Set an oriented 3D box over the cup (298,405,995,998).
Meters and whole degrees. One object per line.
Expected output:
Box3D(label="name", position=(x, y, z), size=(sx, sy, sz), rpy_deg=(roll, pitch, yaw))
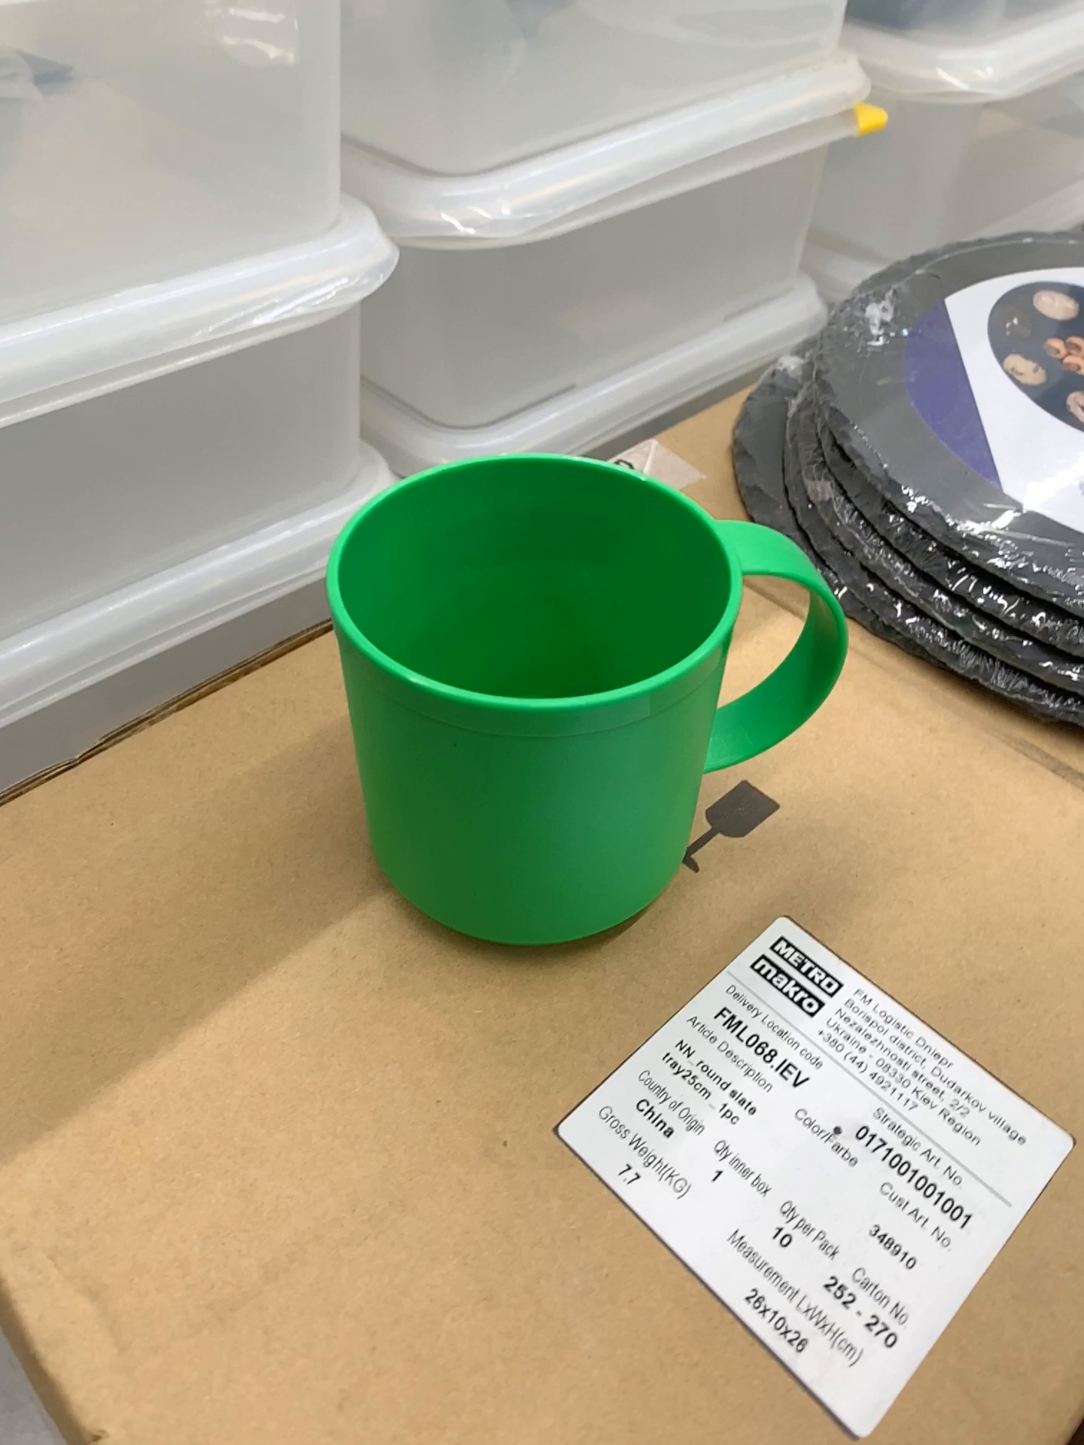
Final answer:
Box3D(label="cup", position=(0.013, -0.007, 0.223), size=(0.105, 0.069, 0.076), rpy_deg=(-9, 45, -10))
